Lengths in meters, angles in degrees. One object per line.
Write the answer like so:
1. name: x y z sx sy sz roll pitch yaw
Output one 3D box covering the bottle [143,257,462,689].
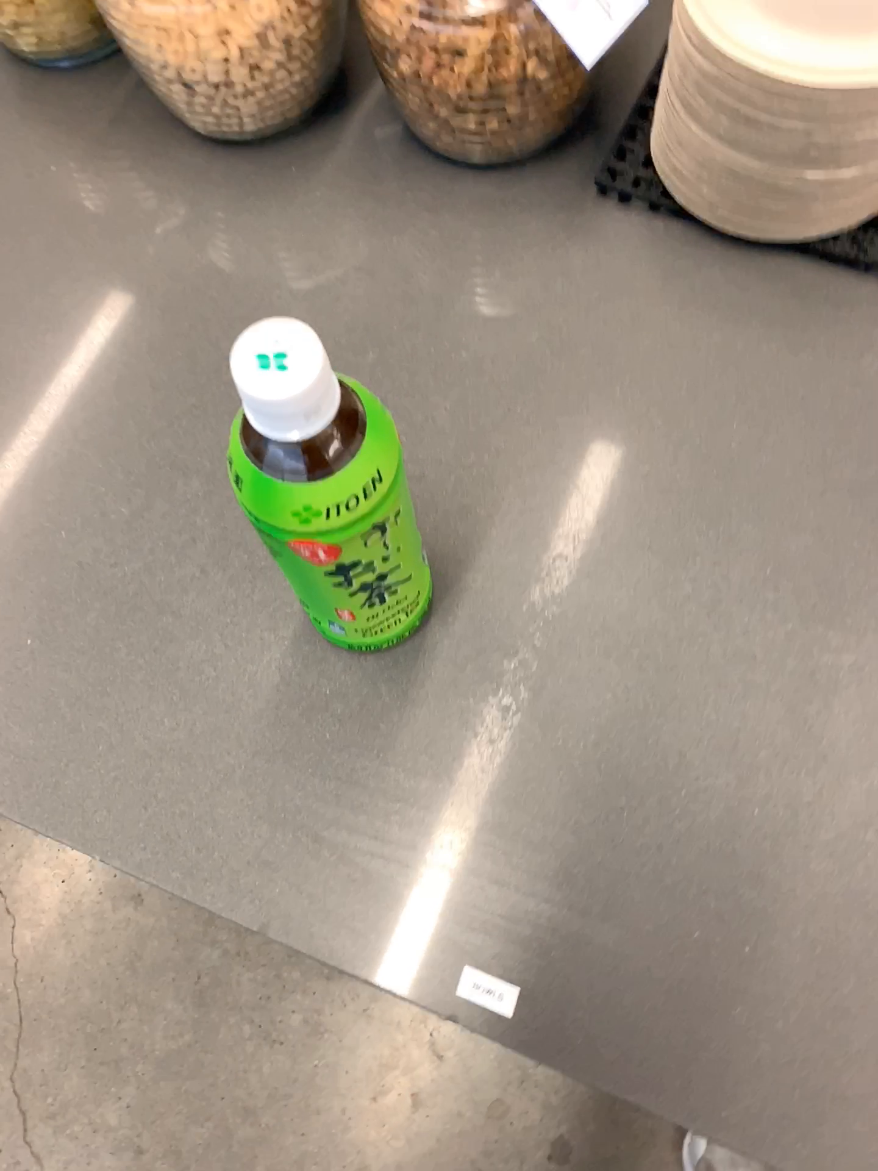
1. bottle: -0.043 -0.029 0.381 0.070 0.200 0.070 -2 68 4
